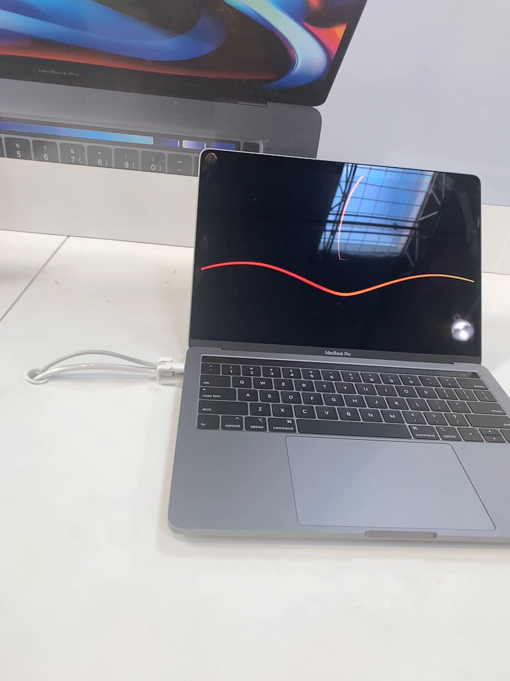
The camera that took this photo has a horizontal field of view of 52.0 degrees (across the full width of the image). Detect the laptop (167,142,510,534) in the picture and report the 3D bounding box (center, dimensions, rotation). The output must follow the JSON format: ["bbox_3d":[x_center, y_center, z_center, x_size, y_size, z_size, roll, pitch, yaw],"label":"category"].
[{"bbox_3d":[0.089,-0.031,0.423,0.284,0.150,0.316,4,32,-6],"label":"laptop"}]
